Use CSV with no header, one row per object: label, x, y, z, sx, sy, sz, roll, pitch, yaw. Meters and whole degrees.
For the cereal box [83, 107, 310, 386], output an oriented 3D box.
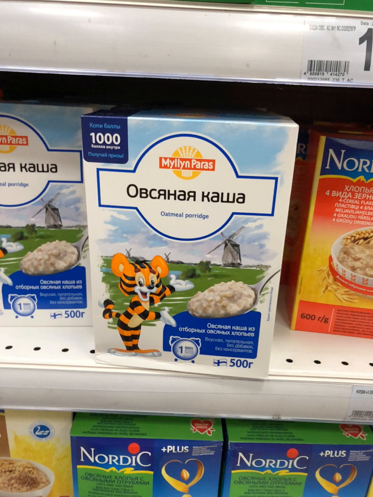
cereal box,0.003,0.002,0.335,0.150,0.209,0.050,5,22,5
